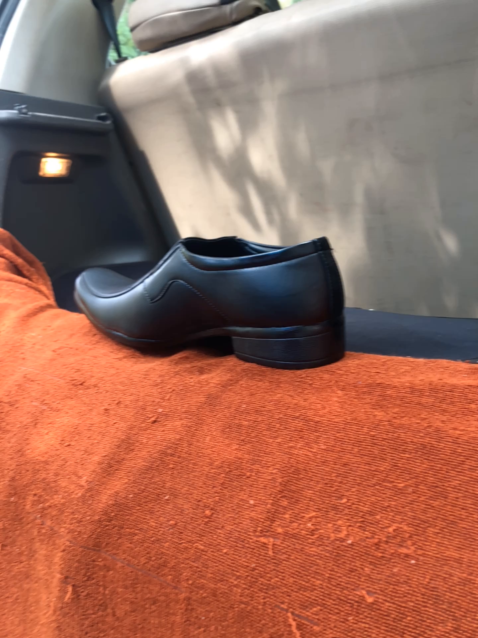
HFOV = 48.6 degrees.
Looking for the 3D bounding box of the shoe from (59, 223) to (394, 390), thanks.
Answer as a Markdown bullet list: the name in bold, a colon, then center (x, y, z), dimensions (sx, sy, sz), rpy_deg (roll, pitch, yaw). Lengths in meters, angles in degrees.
- **shoe**: center (-0.025, -0.034, 0.504), dimensions (0.161, 0.100, 0.290), rpy_deg (-14, 17, -41)
